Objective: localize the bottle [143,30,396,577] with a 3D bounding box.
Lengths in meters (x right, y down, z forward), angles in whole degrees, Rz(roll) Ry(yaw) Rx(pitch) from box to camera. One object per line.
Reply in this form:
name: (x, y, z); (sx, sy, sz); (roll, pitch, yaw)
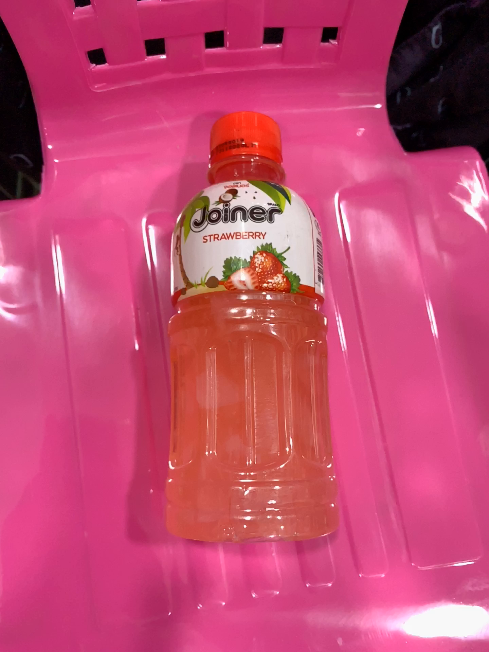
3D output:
bottle: (0.003, -0.008, 0.185); (0.070, 0.070, 0.160); (0, 83, -5)
